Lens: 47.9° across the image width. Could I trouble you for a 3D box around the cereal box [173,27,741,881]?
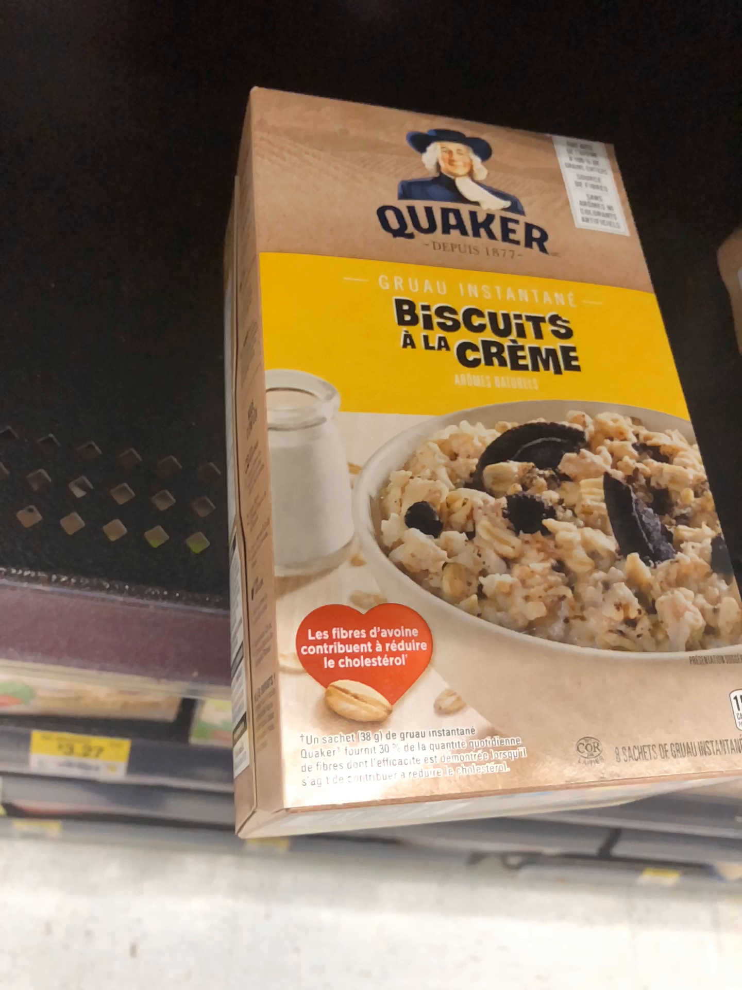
[{"bbox_3d":[0.019,-0.014,0.235,0.140,0.070,0.210,1,66,-16],"label":"cereal box"}]
